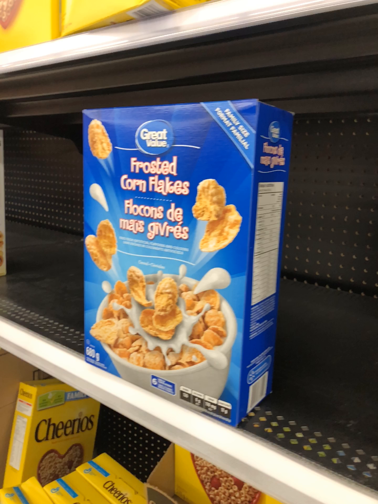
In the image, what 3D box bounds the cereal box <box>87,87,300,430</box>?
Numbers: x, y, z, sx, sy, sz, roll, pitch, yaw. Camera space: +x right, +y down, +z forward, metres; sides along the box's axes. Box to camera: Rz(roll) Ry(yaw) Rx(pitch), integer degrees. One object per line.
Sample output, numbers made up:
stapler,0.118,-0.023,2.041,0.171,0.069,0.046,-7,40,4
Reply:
cereal box,-0.009,-0.004,0.460,0.210,0.309,0.080,10,13,33
